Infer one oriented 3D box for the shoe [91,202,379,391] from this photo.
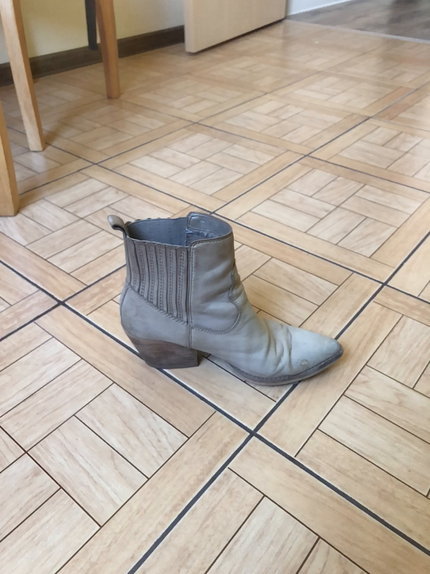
[{"bbox_3d":[0.018,0.013,0.523,0.260,0.179,0.090,2,38,2],"label":"shoe"}]
